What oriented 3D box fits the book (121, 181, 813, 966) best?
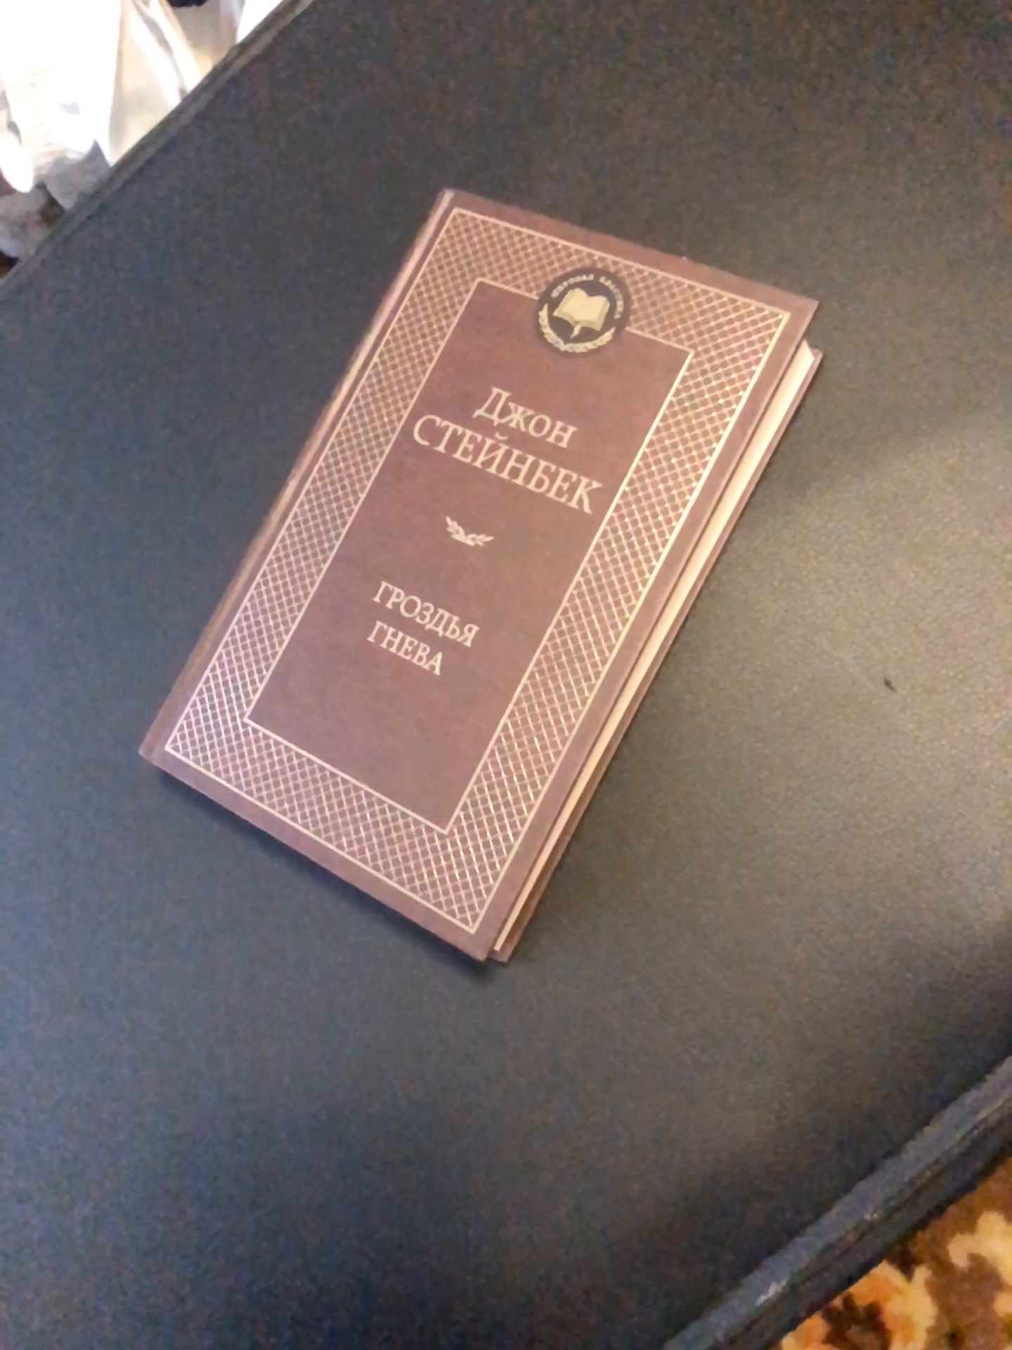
[{"bbox_3d":[-0.013,-0.035,0.341,0.130,0.040,0.199,26,88,22],"label":"book"}]
